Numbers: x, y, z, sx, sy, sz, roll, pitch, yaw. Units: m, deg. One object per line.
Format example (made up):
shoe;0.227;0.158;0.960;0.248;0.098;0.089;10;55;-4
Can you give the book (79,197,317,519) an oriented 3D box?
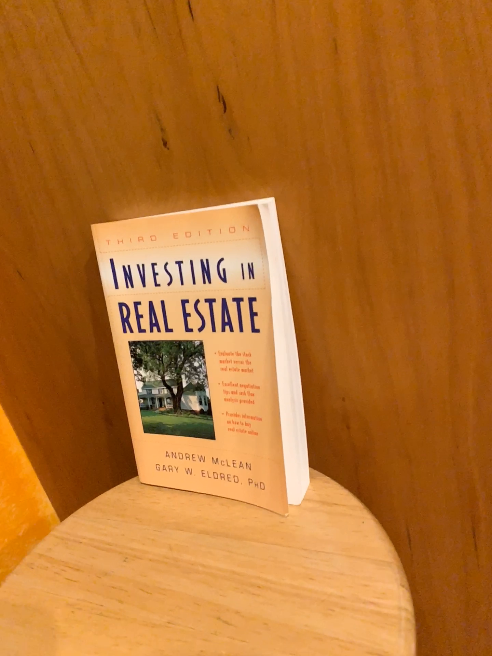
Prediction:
book;-0.037;0.023;0.406;0.160;0.229;0.050;-1;12;27
